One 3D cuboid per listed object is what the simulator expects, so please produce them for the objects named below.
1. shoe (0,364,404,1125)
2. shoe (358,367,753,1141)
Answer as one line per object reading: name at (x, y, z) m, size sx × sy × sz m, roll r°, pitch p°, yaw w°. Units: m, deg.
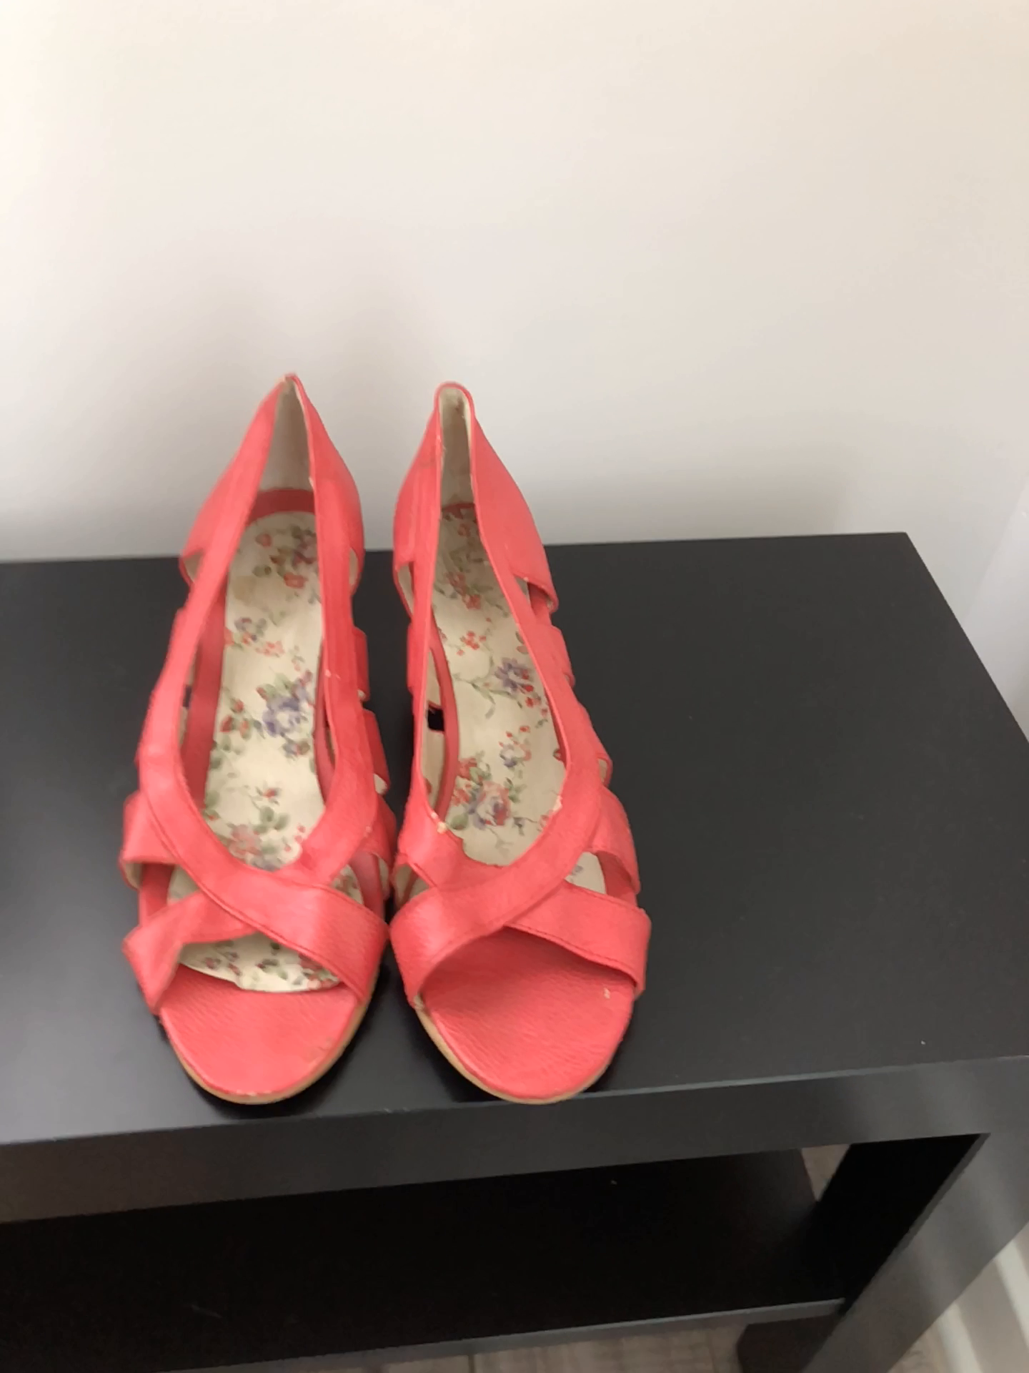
shoe at (-0.085, 0.001, 0.350) m, size 0.087 × 0.100 × 0.221 m, roll -3°, pitch 44°, yaw -7°
shoe at (-0.005, 0.003, 0.356) m, size 0.077 × 0.100 × 0.231 m, roll -3°, pitch 44°, yaw -7°
